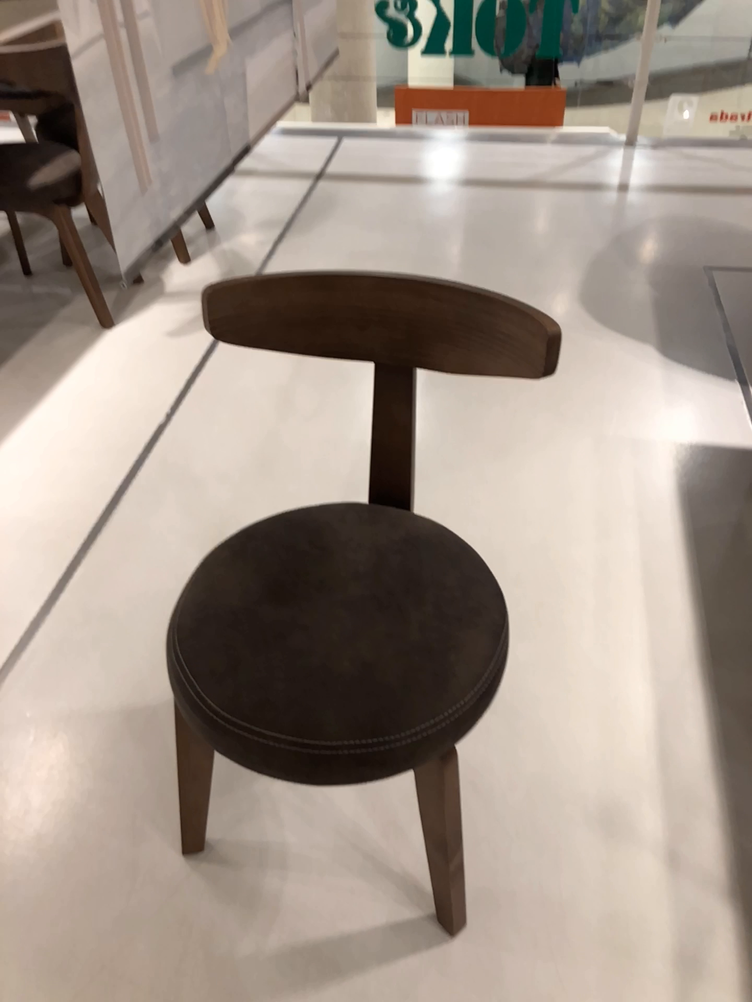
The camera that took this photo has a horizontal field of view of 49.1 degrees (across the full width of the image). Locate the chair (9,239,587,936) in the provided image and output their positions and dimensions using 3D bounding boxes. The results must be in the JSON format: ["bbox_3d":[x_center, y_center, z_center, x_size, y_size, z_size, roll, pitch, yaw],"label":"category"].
[{"bbox_3d":[-0.027,0.108,1.090,0.470,0.705,0.493,9,40,13],"label":"chair"}]
